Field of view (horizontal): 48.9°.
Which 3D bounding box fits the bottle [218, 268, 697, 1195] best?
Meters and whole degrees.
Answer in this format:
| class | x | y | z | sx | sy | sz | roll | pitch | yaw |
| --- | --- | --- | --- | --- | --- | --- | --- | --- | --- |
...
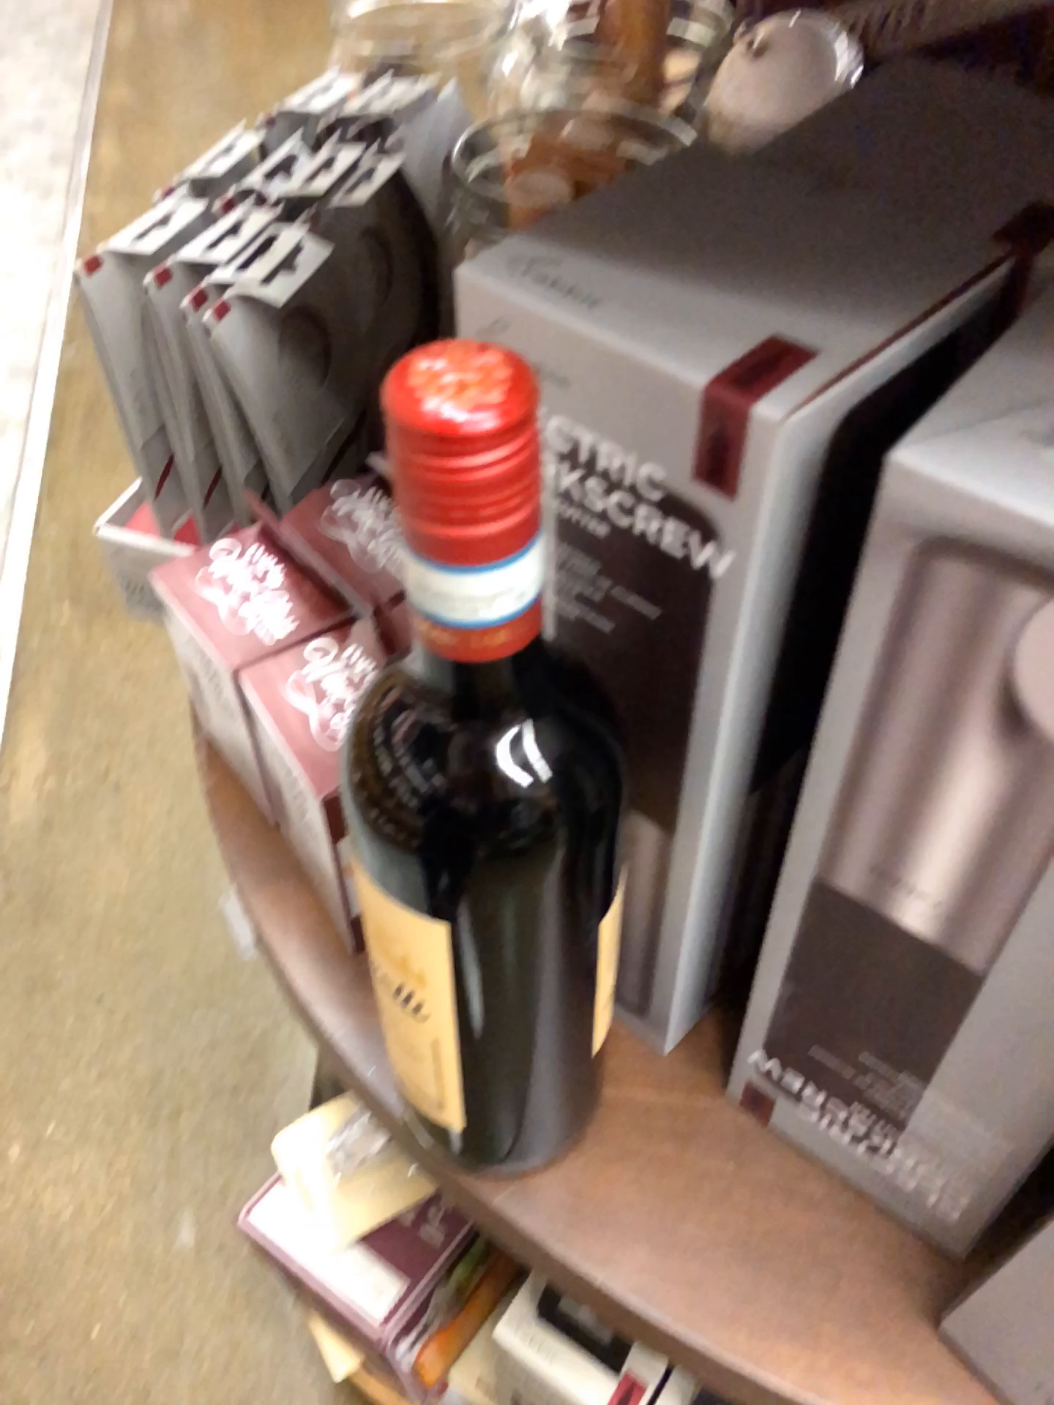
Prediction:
| class | x | y | z | sx | sy | sz | roll | pitch | yaw |
| --- | --- | --- | --- | --- | --- | --- | --- | --- | --- |
| bottle | -0.006 | 0.039 | 0.307 | 0.075 | 0.283 | 0.072 | -1 | 46 | 1 |
